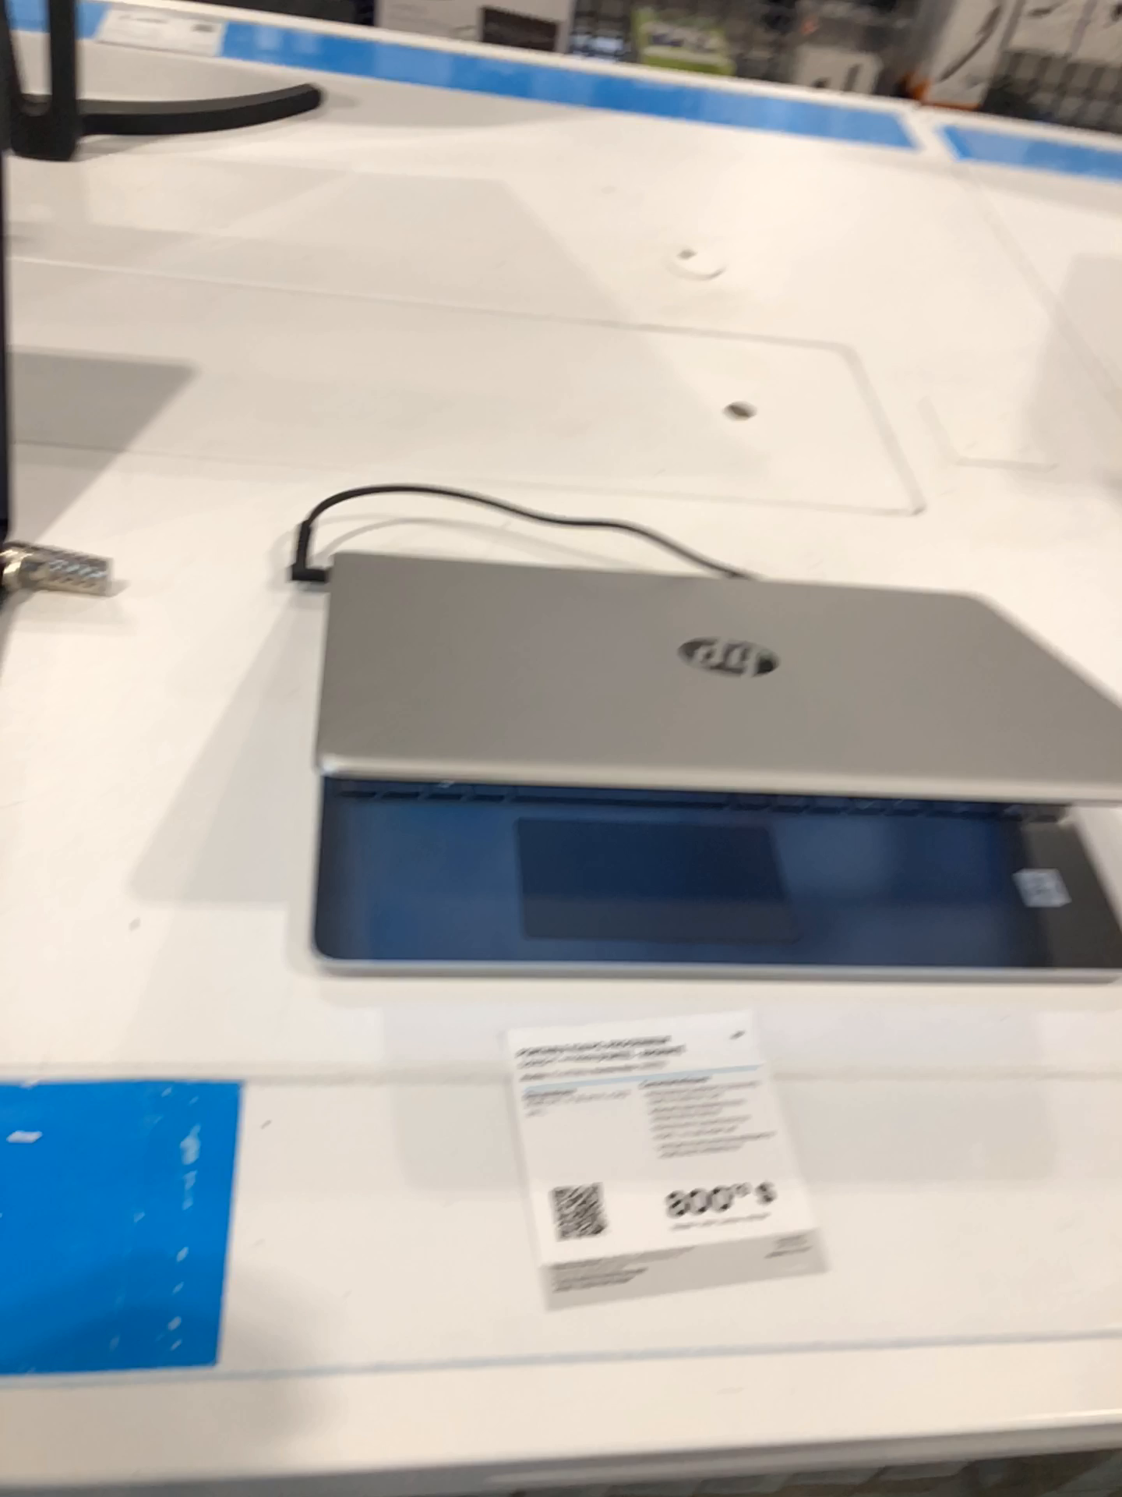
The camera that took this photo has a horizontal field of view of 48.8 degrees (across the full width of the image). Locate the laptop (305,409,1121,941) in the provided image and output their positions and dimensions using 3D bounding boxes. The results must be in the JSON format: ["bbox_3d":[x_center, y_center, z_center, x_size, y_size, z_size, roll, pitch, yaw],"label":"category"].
[{"bbox_3d":[0.069,-0.037,0.546,0.341,0.086,0.229,2,47,-8],"label":"laptop"}]
